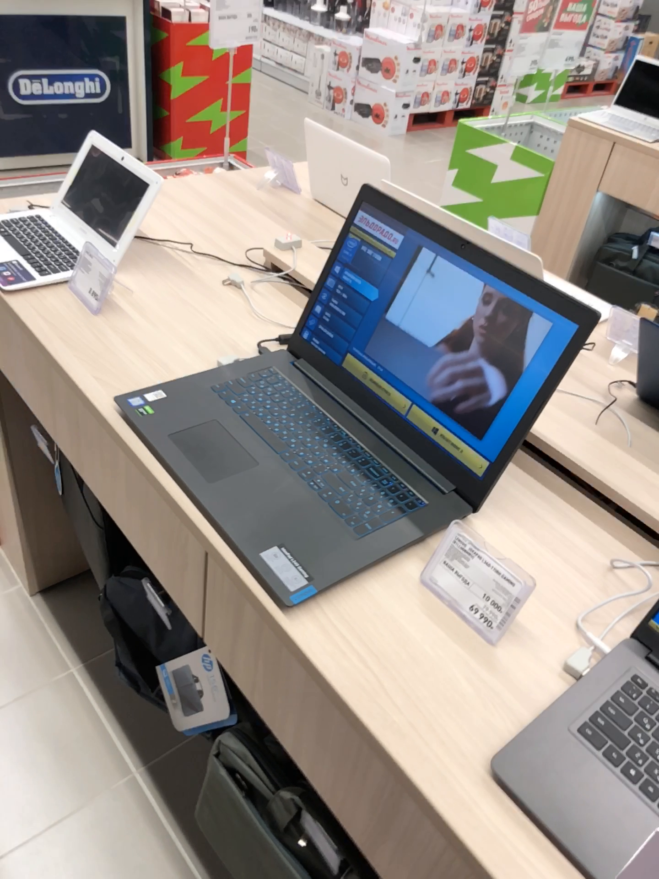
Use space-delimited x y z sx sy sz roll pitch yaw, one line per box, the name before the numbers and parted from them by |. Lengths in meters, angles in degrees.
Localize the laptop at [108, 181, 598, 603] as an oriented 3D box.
laptop | 0.006 -0.099 0.867 0.381 0.242 0.396 -21 47 -33
